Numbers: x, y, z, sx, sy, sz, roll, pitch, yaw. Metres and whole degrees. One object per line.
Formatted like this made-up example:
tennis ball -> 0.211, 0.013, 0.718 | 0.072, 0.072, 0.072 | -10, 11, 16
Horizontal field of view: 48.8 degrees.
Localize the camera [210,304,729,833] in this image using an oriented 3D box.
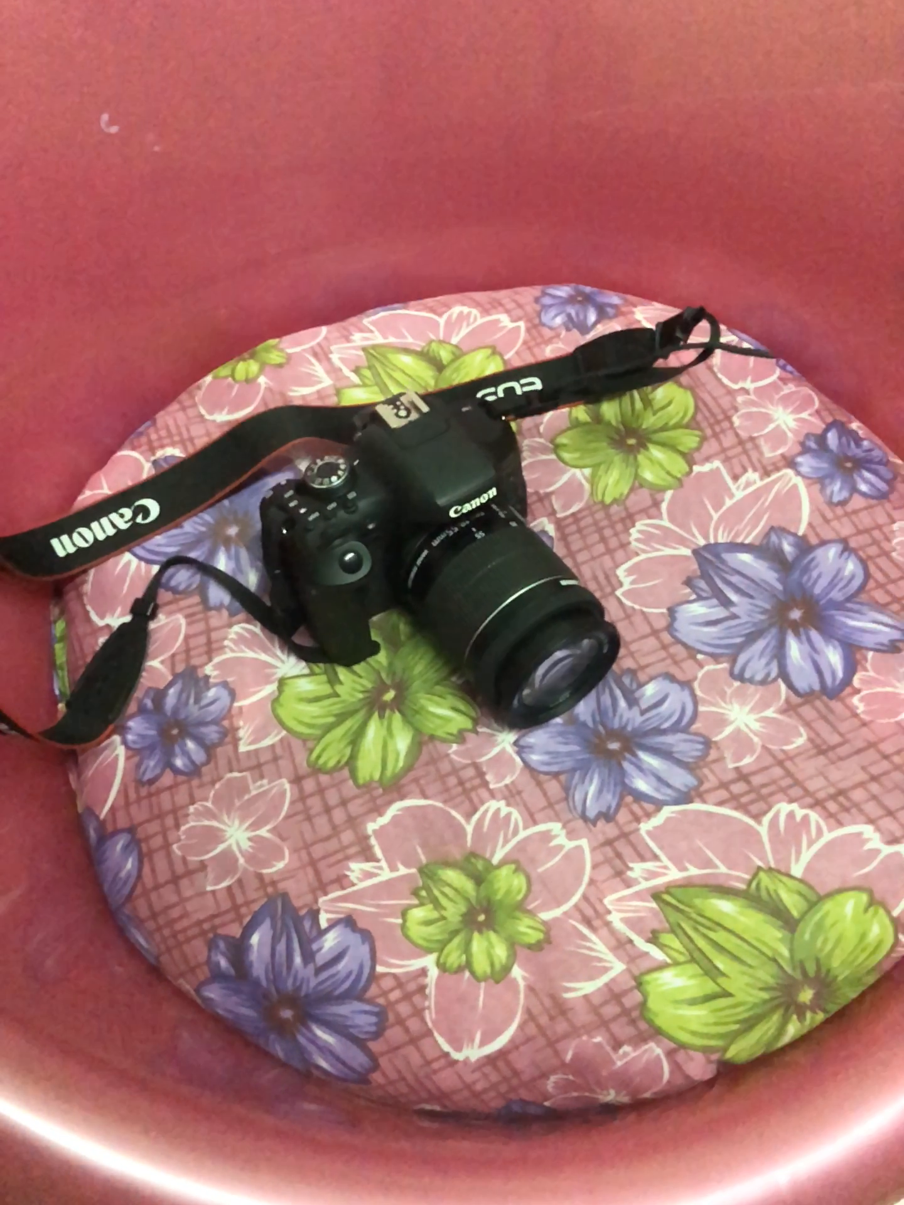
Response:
camera -> 0.003, -0.019, 0.433 | 0.140, 0.100, 0.161 | -28, 61, -15
